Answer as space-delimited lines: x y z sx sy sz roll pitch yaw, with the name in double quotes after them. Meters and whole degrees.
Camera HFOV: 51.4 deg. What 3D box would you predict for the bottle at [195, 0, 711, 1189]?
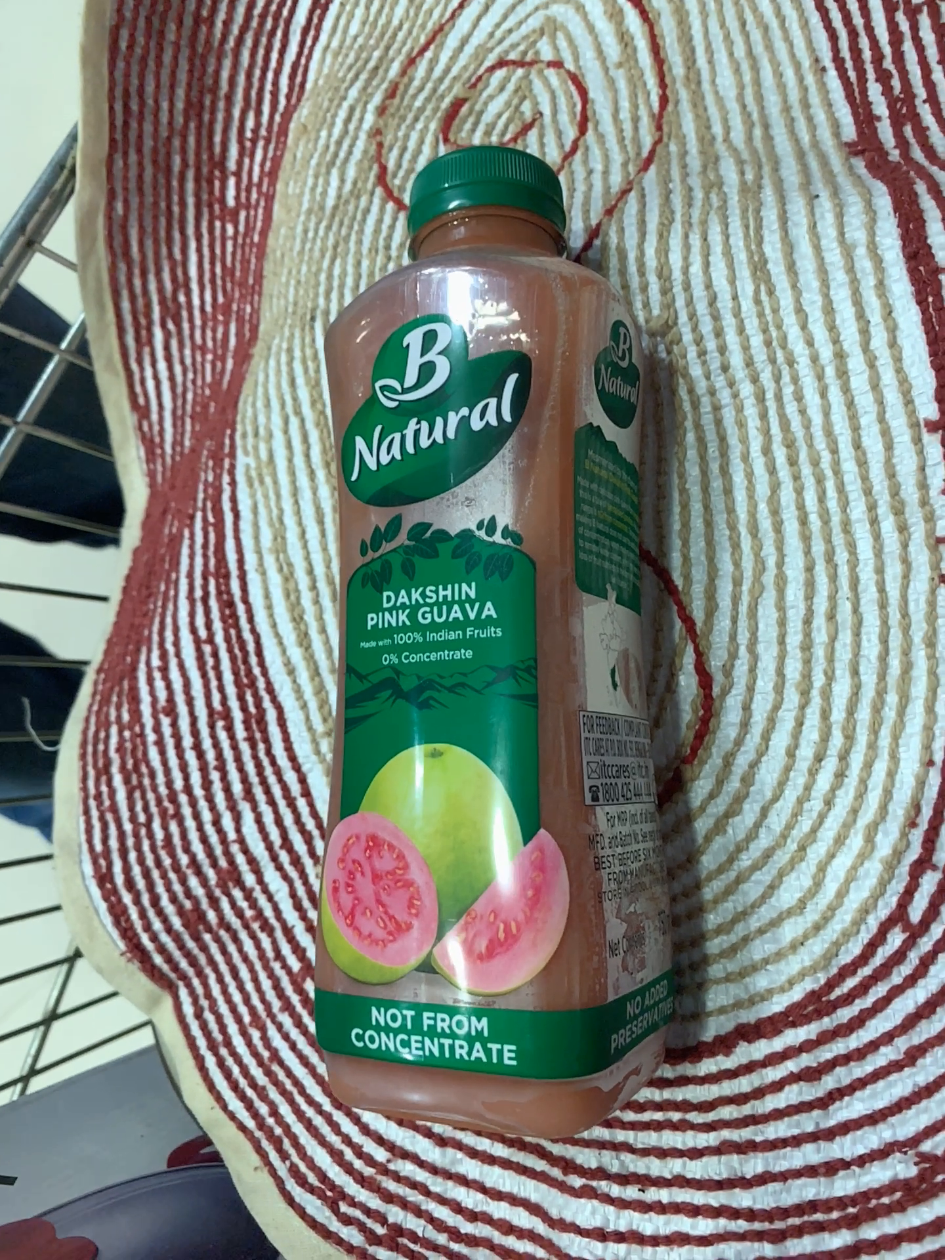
-0.001 -0.015 0.204 0.080 0.060 0.210 -4 80 27 "bottle"
